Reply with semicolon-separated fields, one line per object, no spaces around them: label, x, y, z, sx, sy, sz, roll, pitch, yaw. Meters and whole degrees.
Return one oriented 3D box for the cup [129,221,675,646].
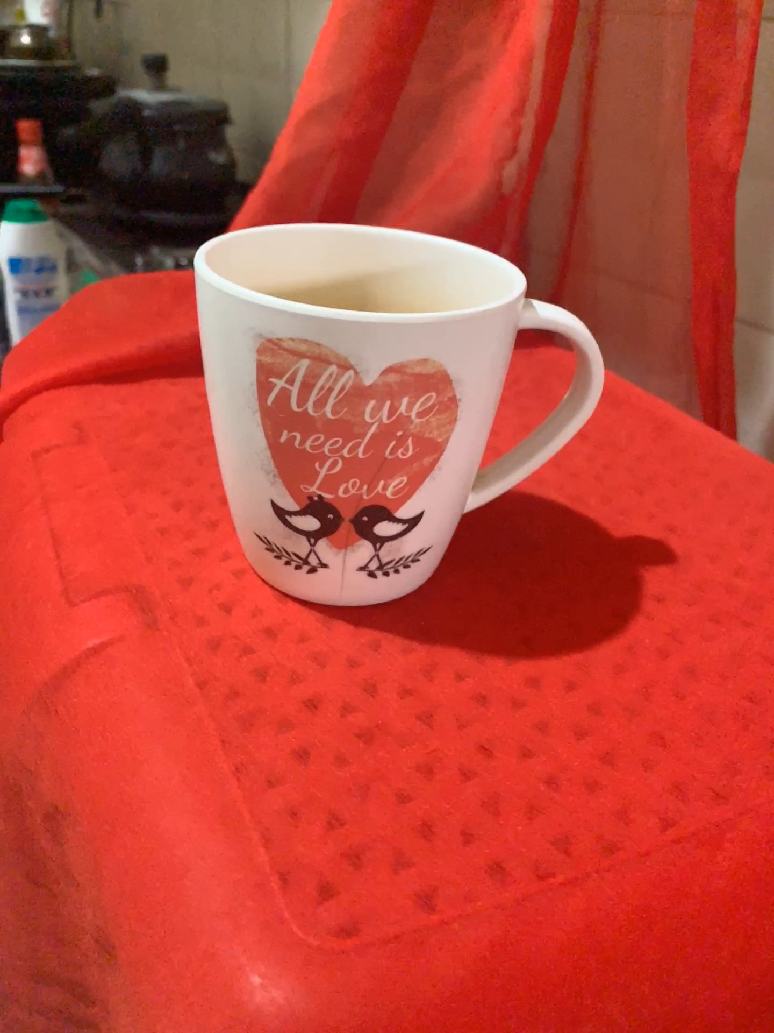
cup;0.000;-0.027;0.222;0.110;0.079;0.091;2;31;-4
